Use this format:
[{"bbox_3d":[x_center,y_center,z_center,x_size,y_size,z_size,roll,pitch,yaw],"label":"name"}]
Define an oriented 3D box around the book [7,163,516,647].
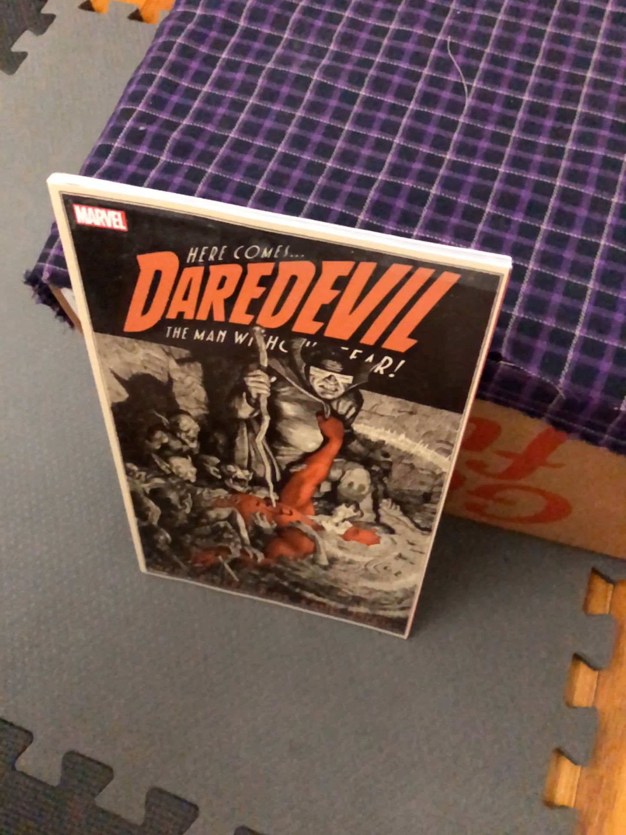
[{"bbox_3d":[-0.022,0.017,0.299,0.160,0.229,0.020,12,46,8],"label":"book"}]
